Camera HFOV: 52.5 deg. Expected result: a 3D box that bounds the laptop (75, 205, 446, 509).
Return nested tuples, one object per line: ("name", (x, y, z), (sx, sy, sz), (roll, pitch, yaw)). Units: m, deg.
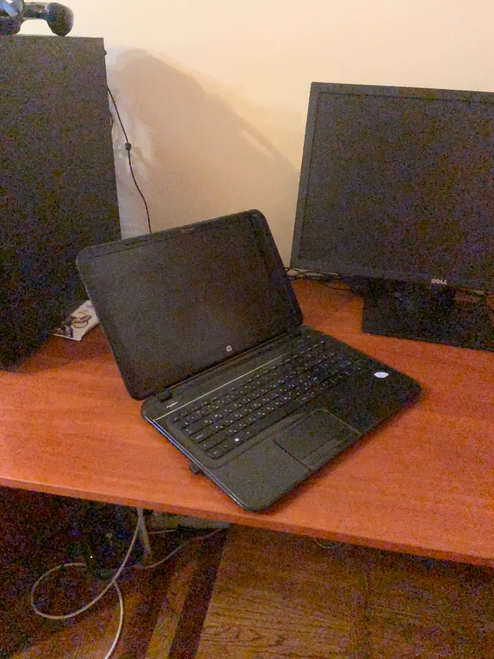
("laptop", (0.011, -0.013, 0.696), (0.332, 0.168, 0.359), (-22, 40, -37))
